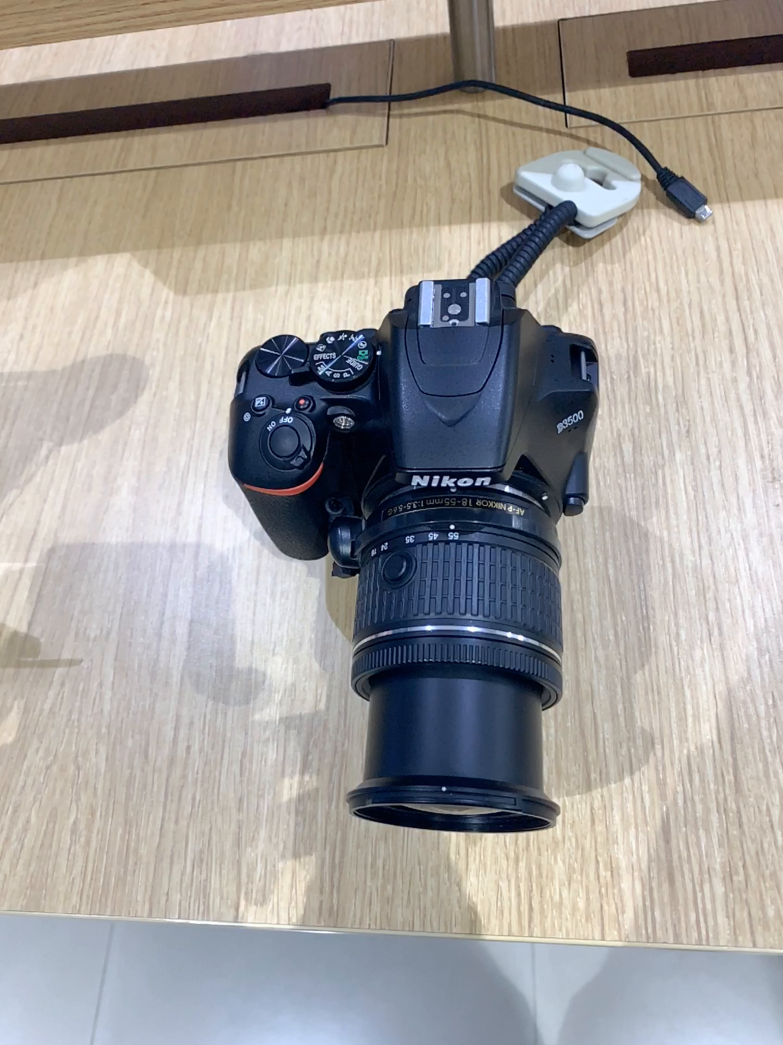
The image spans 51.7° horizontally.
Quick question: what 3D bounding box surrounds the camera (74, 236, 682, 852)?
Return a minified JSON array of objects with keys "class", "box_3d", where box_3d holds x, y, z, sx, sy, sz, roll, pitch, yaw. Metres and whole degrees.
[{"class":"camera","box_3d":[0.004,0.013,0.226,0.115,0.100,0.136,-2,63,8]}]
